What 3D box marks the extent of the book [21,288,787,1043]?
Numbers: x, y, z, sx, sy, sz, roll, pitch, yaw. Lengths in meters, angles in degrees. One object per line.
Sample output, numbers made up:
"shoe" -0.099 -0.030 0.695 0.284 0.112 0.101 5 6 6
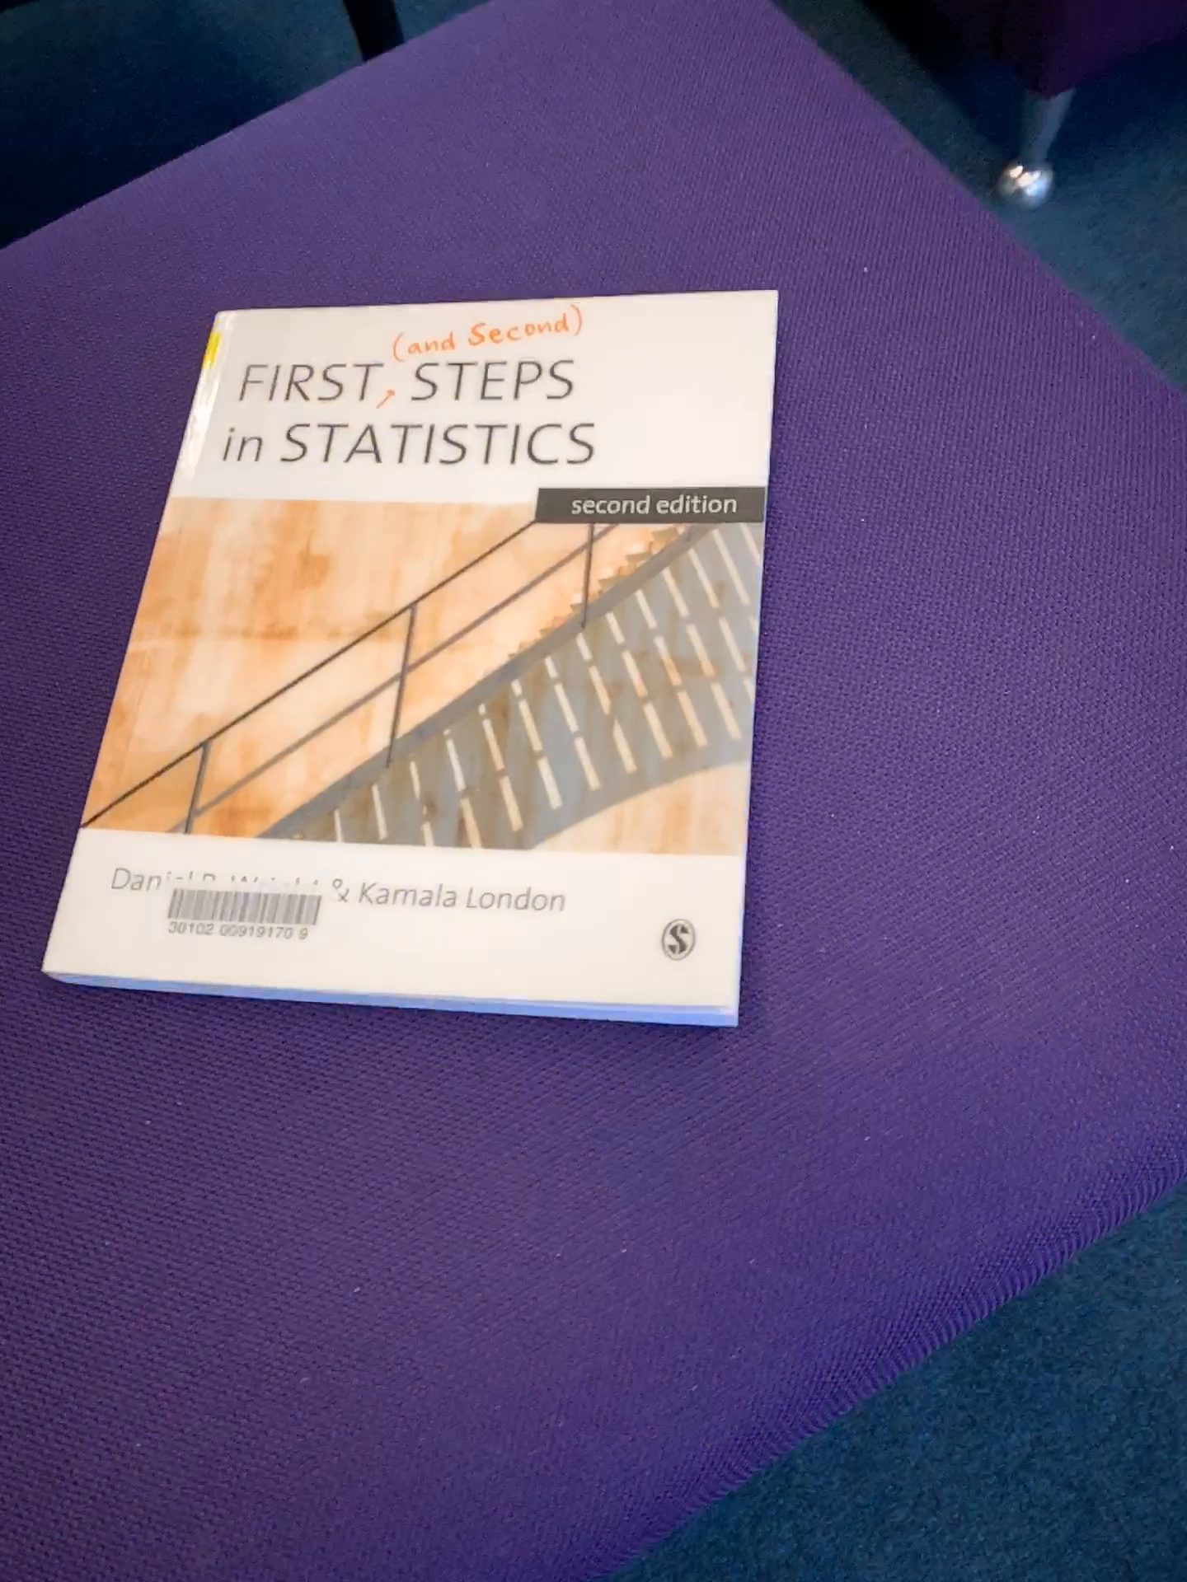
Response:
"book" -0.043 -0.050 0.355 0.189 0.022 0.229 2 67 9
